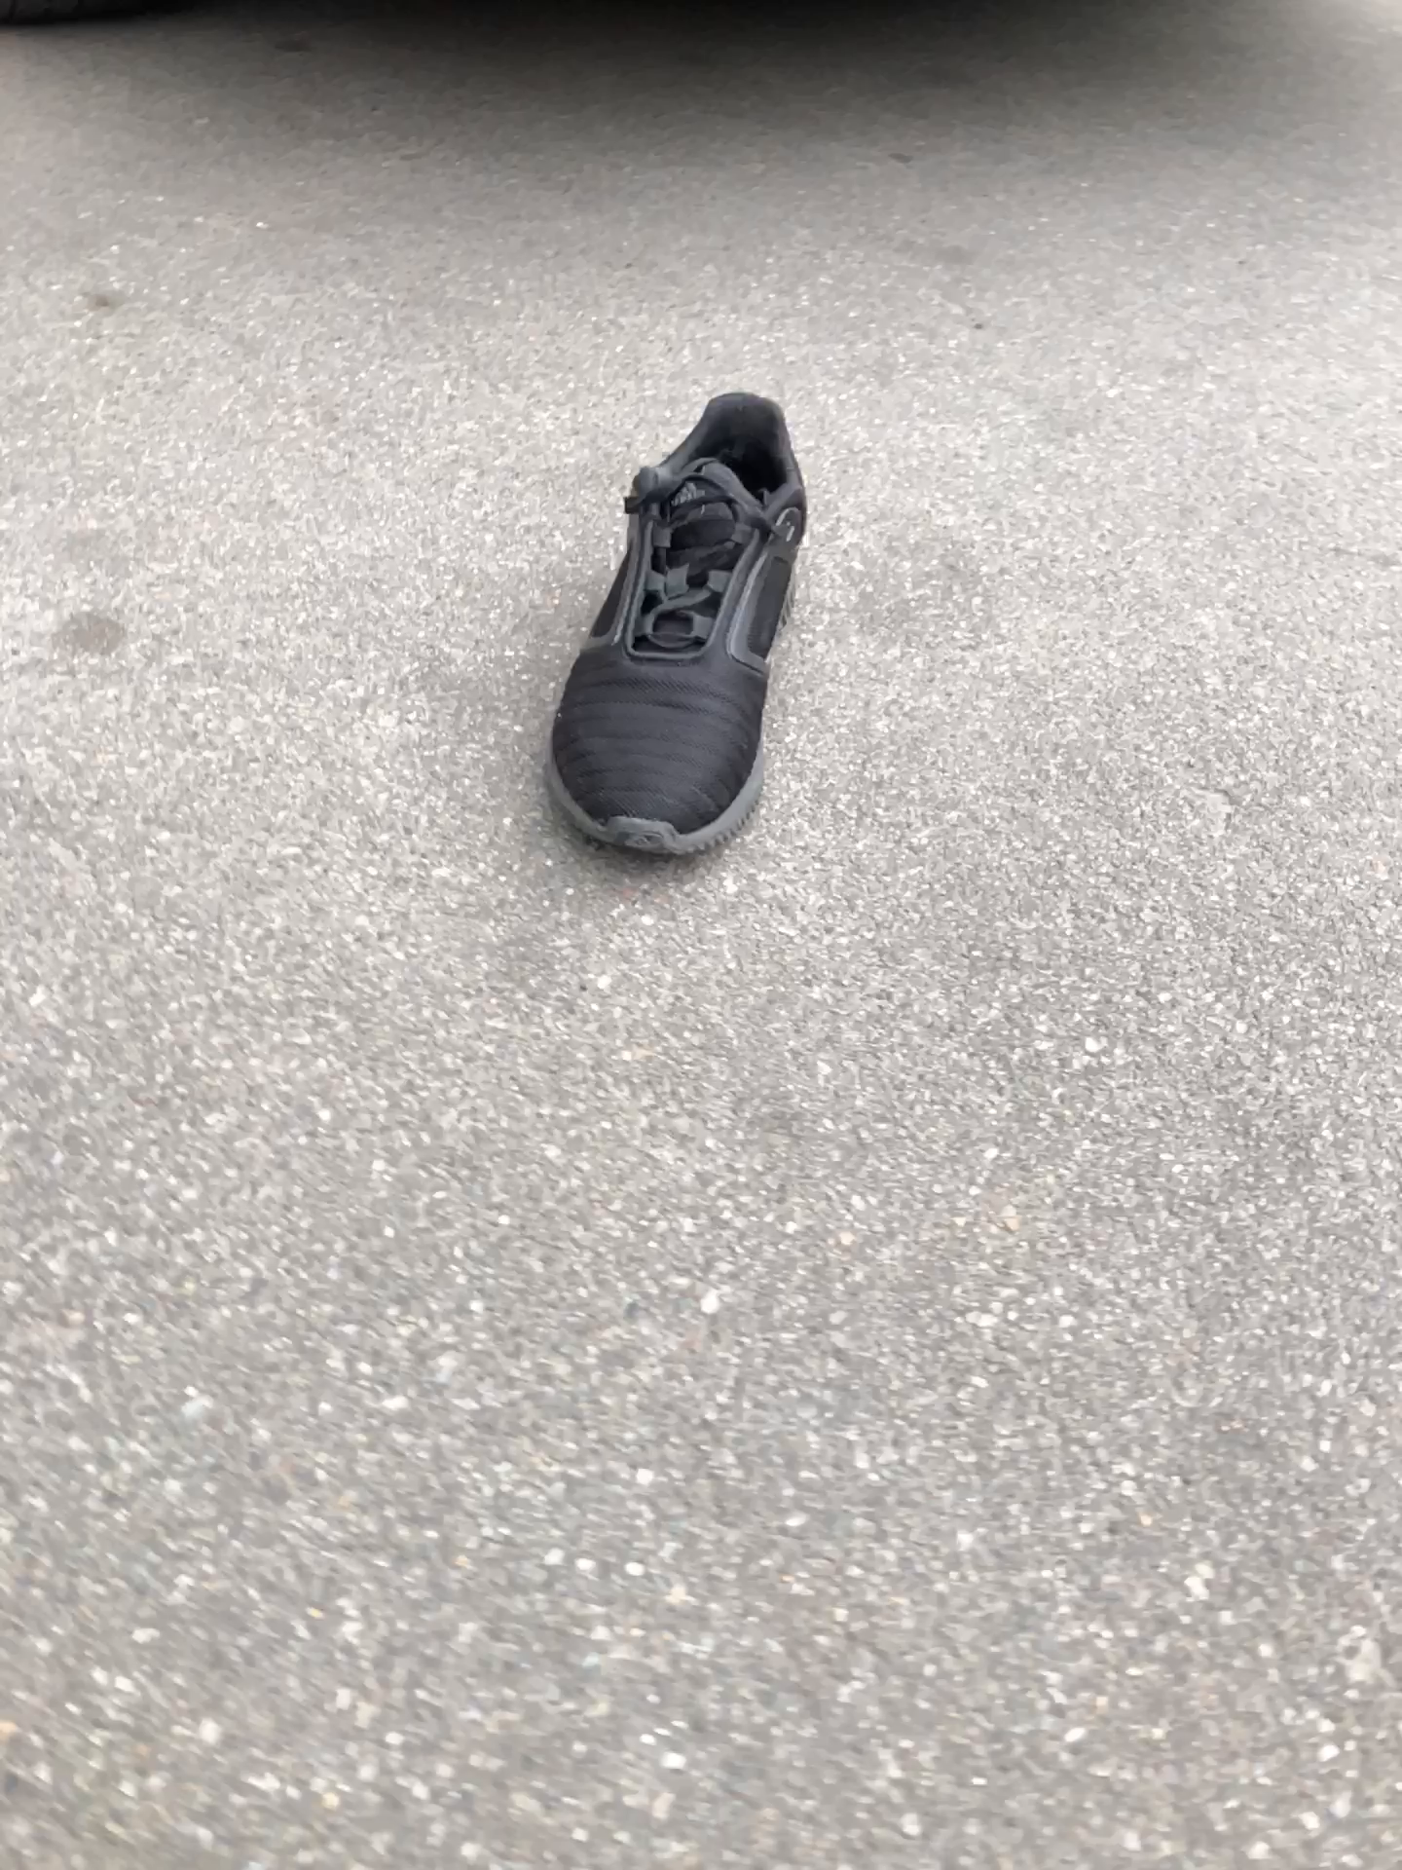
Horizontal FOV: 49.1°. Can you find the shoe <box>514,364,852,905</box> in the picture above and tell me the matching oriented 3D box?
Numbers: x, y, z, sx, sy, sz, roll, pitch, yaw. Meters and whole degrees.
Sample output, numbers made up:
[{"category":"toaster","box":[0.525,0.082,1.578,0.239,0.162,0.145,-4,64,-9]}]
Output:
[{"category":"shoe","box":[-0.002,-0.155,0.733,0.100,0.109,0.282,11,44,5]}]
